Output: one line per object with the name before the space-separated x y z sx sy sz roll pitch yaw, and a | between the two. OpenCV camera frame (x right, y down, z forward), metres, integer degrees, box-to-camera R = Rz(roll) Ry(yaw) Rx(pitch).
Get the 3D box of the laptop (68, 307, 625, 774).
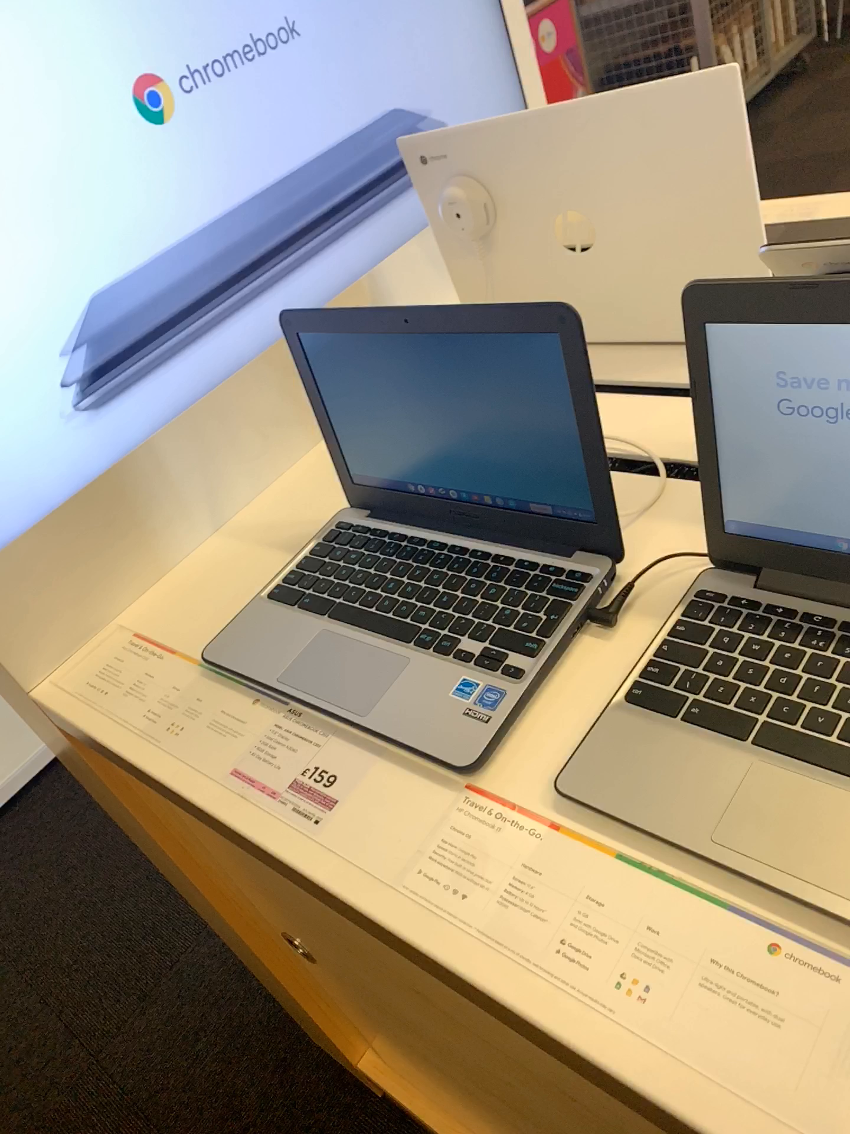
laptop | -0.051 -0.042 0.614 0.281 0.183 0.216 13 49 41
